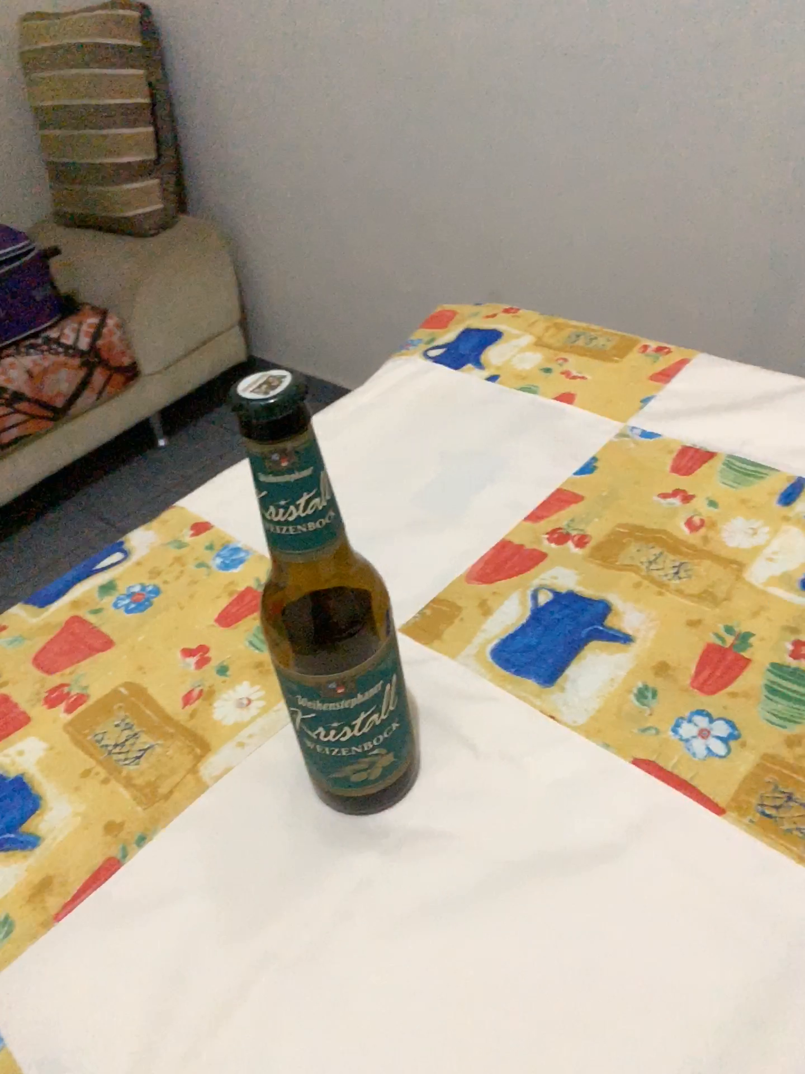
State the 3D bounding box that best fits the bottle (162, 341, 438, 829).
[{"bbox_3d":[-0.033,0.036,0.369,0.070,0.229,0.060,-8,39,2],"label":"bottle"}]
